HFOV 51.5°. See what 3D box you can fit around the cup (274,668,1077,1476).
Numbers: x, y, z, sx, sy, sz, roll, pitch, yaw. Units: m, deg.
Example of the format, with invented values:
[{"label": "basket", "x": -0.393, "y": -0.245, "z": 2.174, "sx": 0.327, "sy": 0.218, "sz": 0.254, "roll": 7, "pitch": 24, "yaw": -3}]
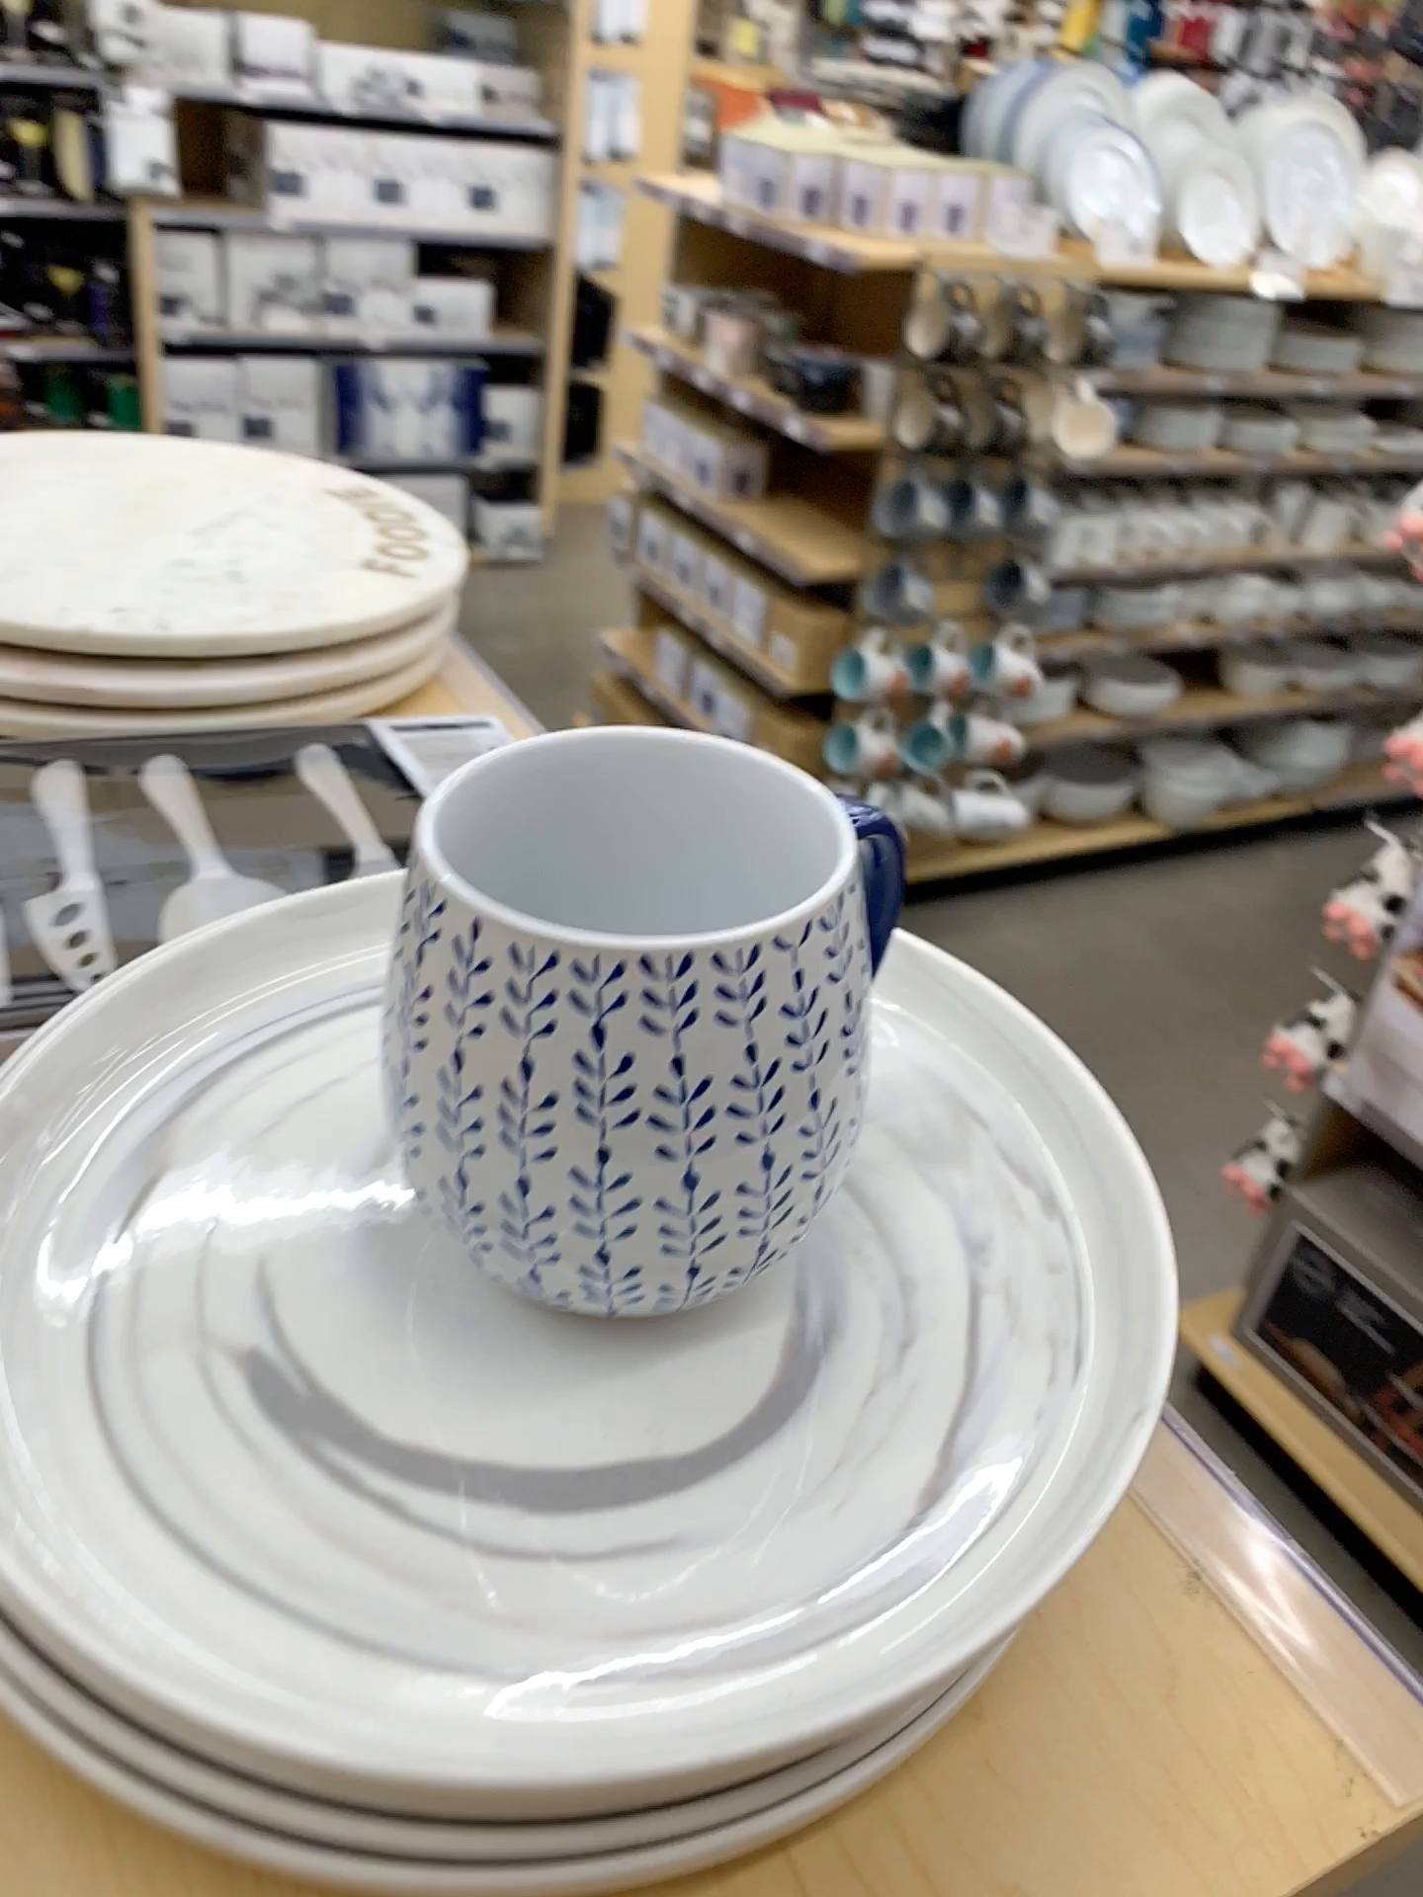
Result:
[{"label": "cup", "x": -0.009, "y": 0.016, "z": 0.326, "sx": 0.104, "sy": 0.097, "sz": 0.128, "roll": 32, "pitch": 41, "yaw": 32}]
